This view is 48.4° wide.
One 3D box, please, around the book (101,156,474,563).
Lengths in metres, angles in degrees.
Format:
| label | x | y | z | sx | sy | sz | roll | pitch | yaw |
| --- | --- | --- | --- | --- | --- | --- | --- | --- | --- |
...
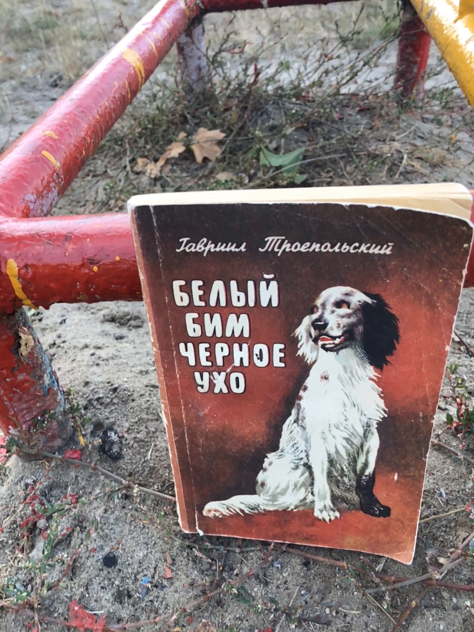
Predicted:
| label | x | y | z | sx | sy | sz | roll | pitch | yaw |
| --- | --- | --- | --- | --- | --- | --- | --- | --- | --- |
| book | 0.029 | 0.034 | 0.234 | 0.130 | 0.196 | 0.030 | 1 | 34 | 10 |
